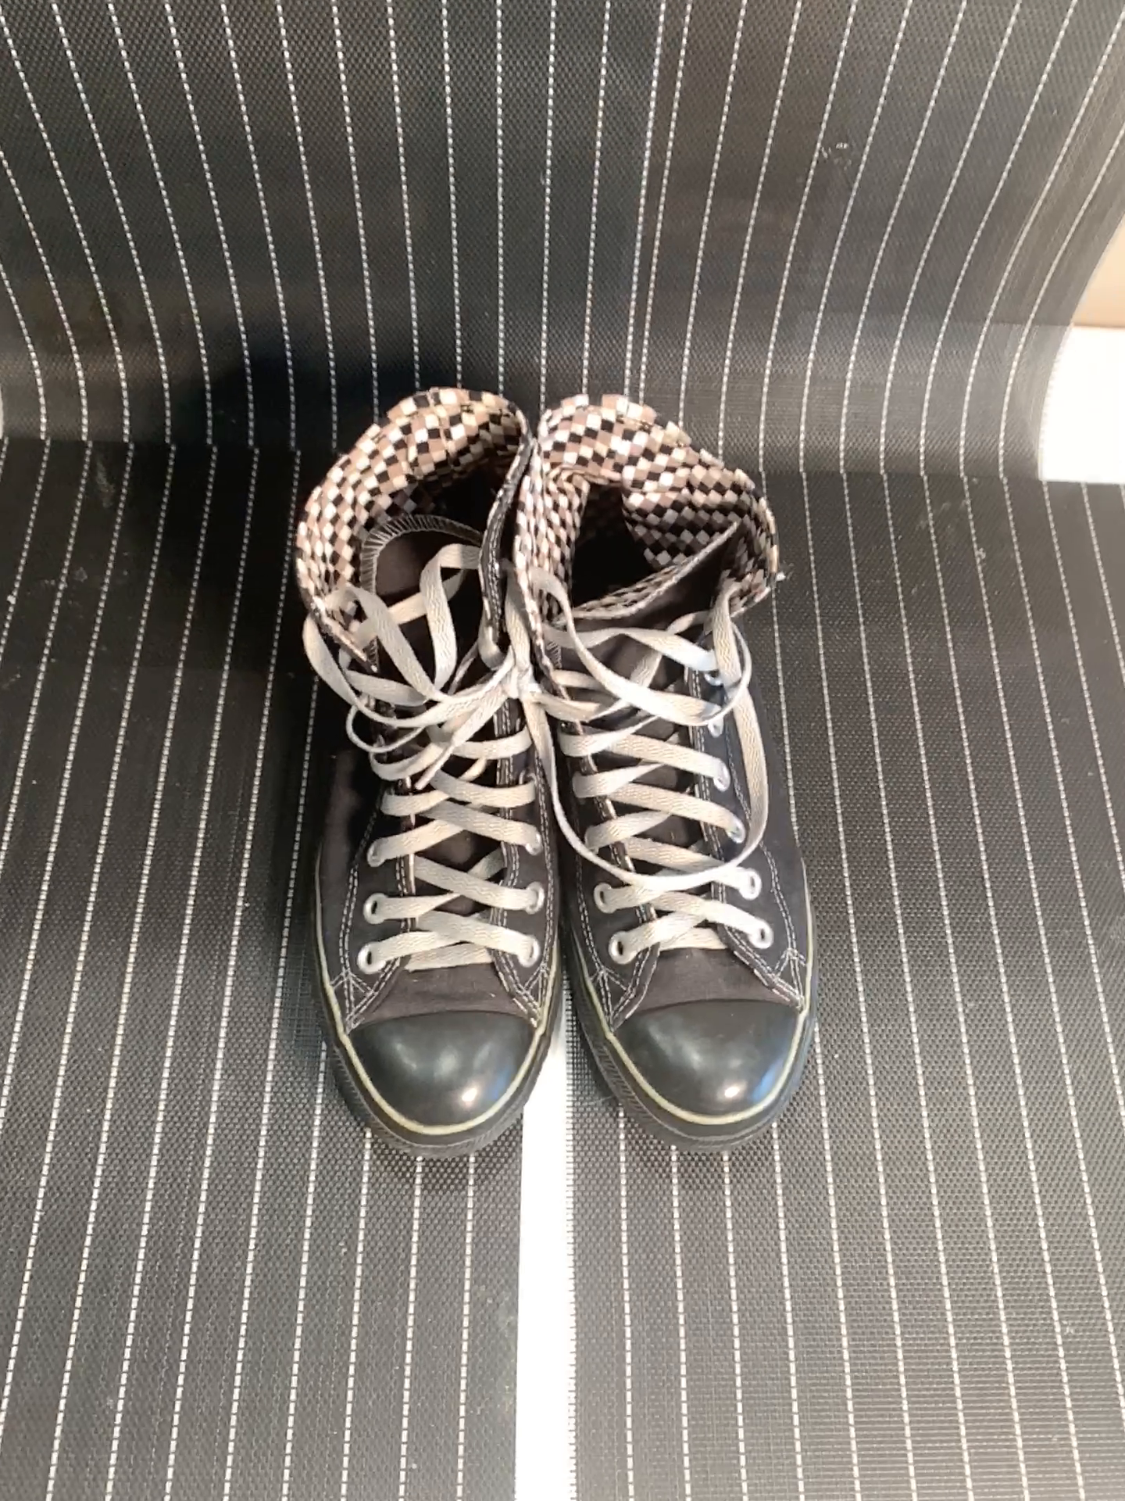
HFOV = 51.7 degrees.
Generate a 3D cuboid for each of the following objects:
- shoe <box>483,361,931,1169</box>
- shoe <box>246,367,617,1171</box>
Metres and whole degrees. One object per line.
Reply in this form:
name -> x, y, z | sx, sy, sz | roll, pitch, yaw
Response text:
shoe -> 0.038, 0.006, 0.470 | 0.110, 0.130, 0.290 | -6, 68, -5
shoe -> -0.047, 0.008, 0.462 | 0.110, 0.130, 0.290 | -1, 67, -4
